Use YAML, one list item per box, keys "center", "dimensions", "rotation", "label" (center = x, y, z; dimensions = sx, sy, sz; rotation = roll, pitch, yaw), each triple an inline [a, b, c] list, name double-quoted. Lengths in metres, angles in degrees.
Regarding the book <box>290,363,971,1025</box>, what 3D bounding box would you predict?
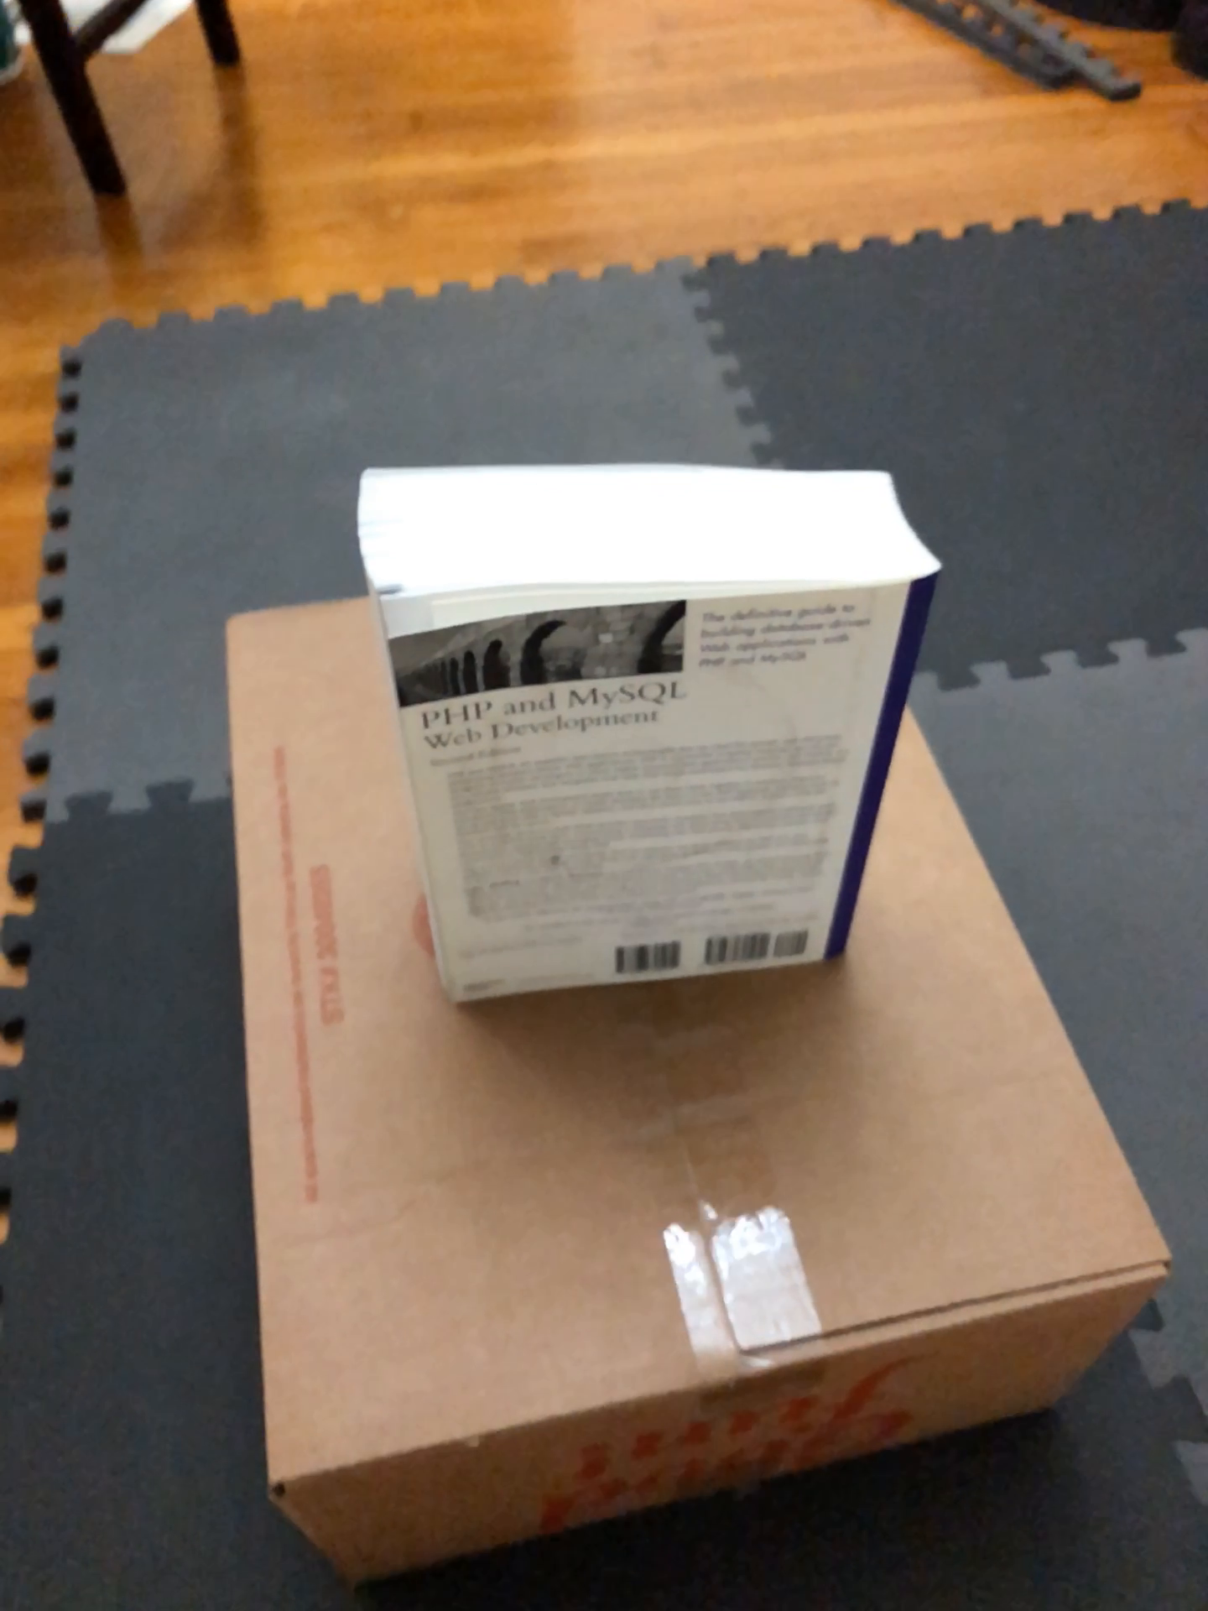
- center: [0.010, -0.027, 0.522]
  dimensions: [0.200, 0.259, 0.091]
  rotation: [3, 50, 3]
  label: "book"
